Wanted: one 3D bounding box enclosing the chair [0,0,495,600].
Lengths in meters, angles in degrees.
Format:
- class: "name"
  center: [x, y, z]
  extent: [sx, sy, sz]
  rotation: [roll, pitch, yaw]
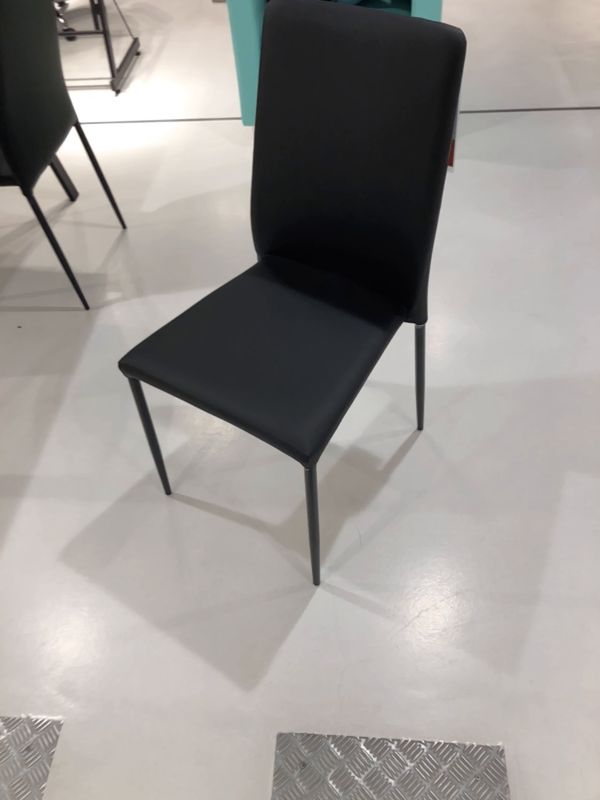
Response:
- class: "chair"
  center: [-0.030, -0.166, 1.244]
  extent: [0.451, 0.864, 0.603]
  rotation: [24, 55, 24]
